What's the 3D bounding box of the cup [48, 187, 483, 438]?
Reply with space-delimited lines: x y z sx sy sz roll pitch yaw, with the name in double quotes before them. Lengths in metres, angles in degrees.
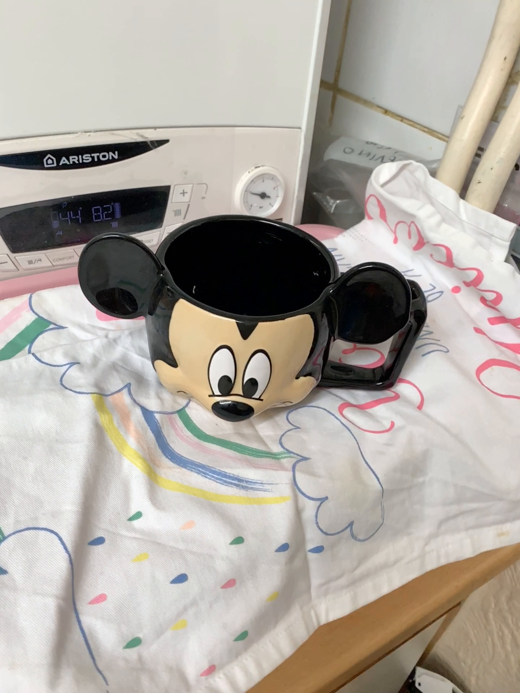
"cup" 0.001 -0.021 0.297 0.190 0.079 0.101 5 39 -3
